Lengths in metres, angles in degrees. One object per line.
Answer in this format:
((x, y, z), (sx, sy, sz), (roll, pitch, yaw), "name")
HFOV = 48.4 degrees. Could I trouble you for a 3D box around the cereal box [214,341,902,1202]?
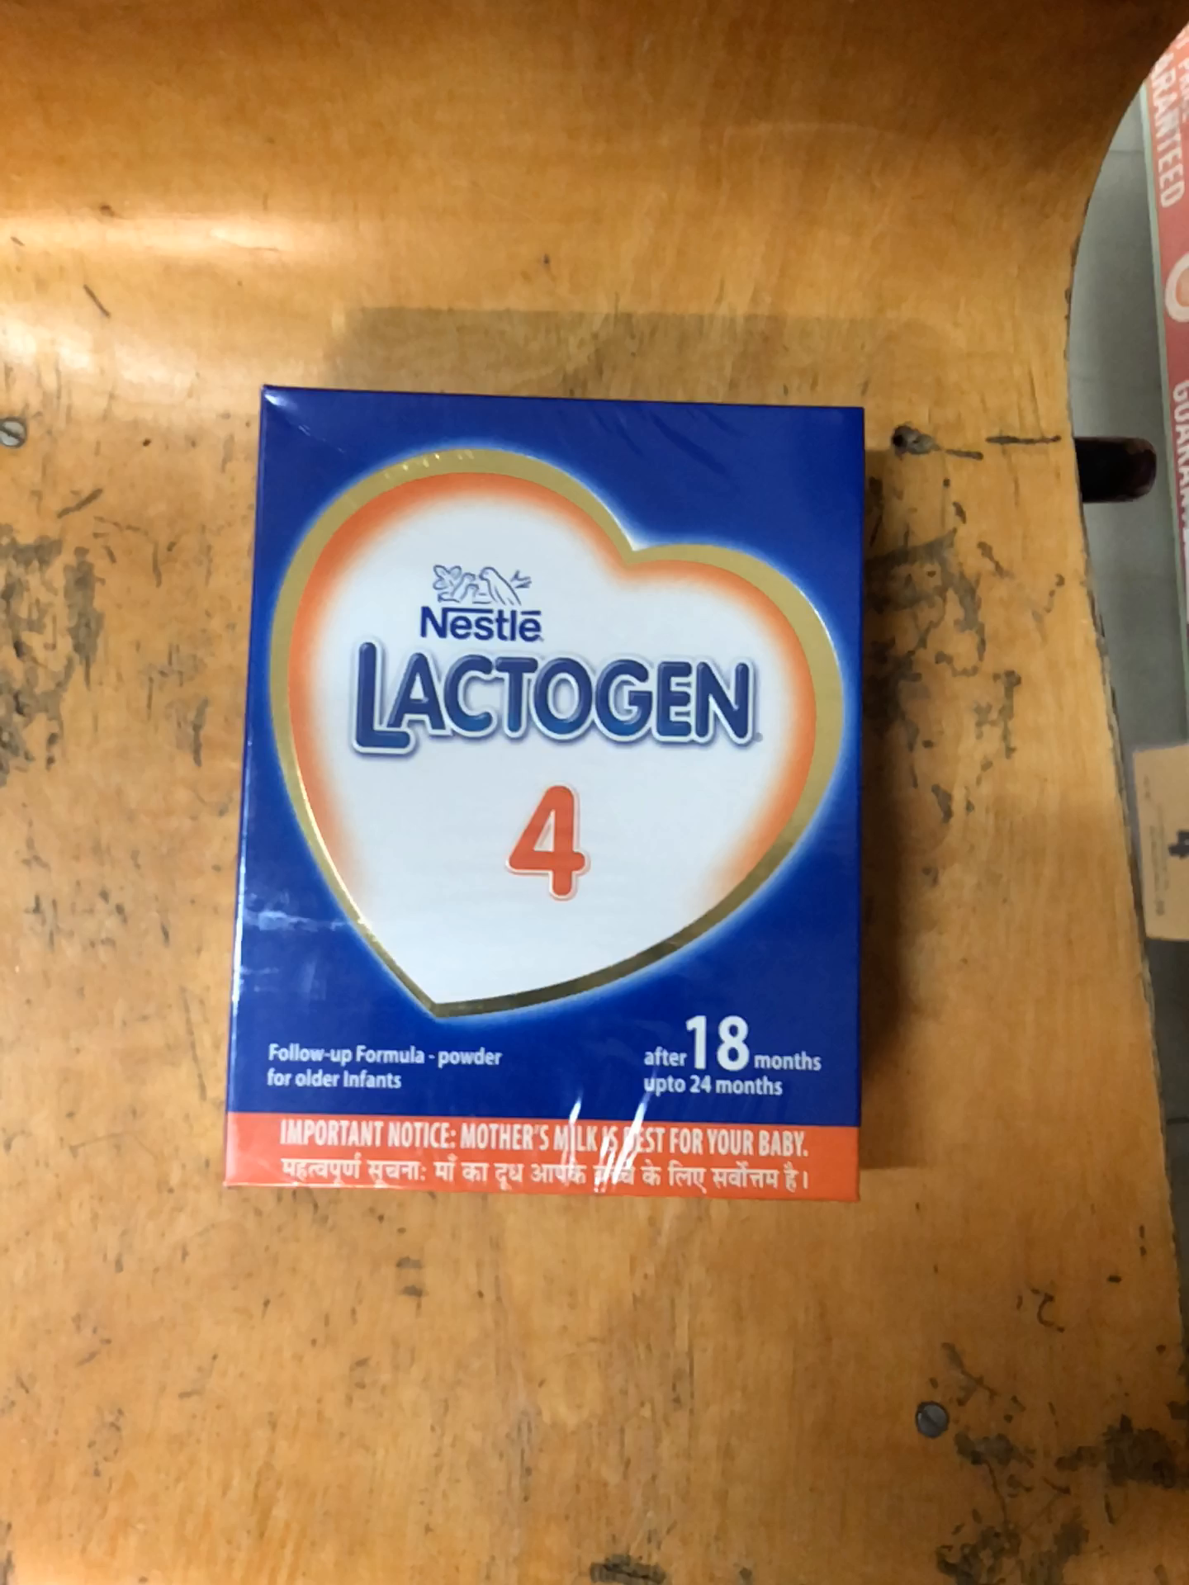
((-0.007, -0.004, 0.325), (0.150, 0.060, 0.190), (1, 86, -2), "cereal box")
